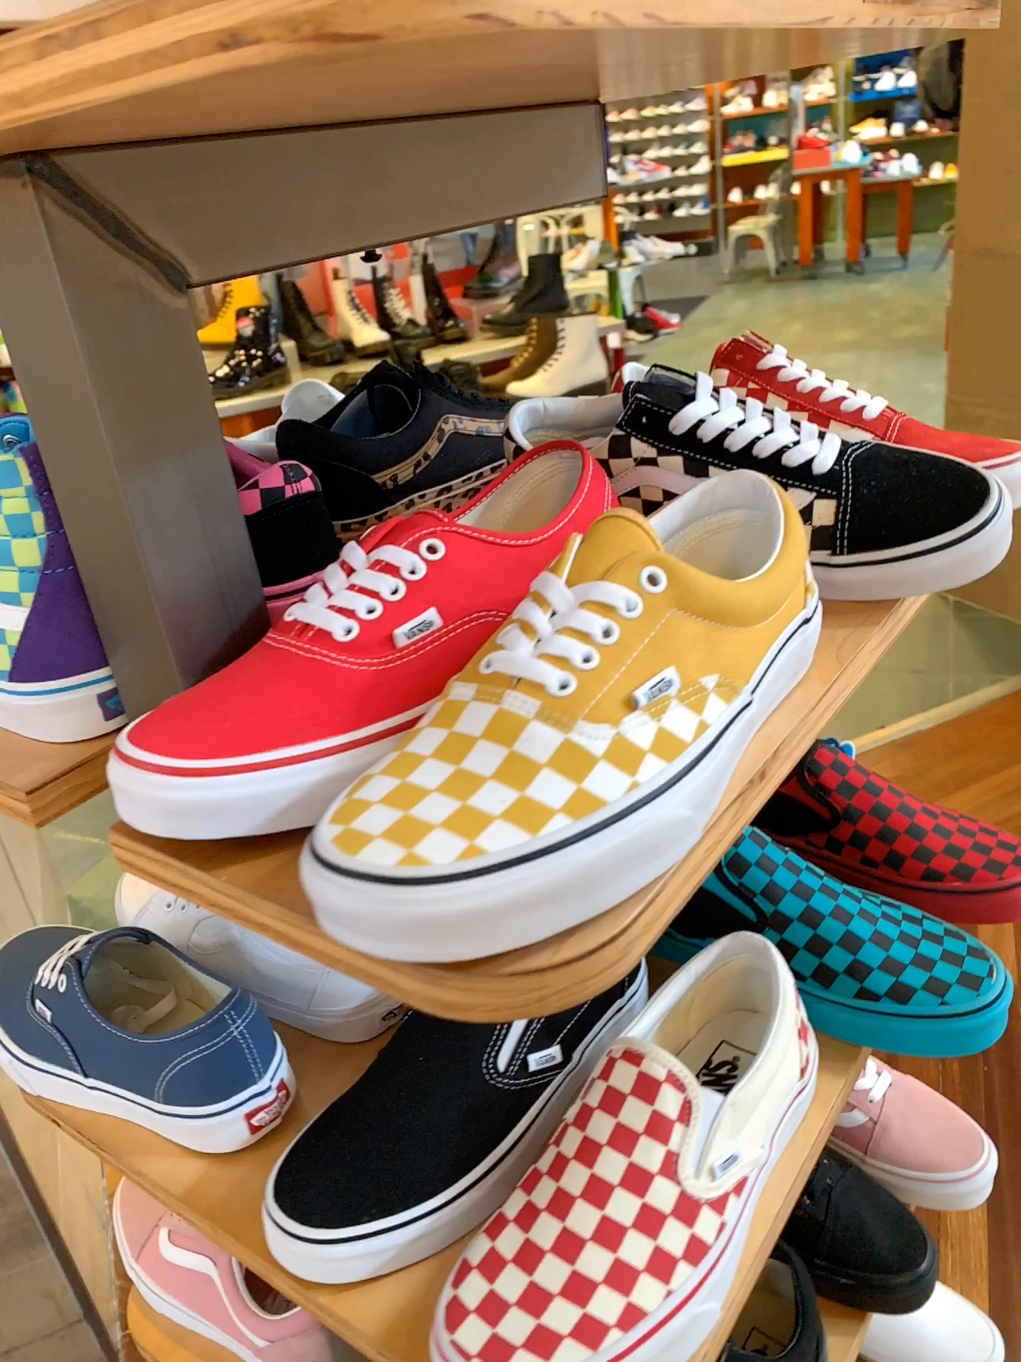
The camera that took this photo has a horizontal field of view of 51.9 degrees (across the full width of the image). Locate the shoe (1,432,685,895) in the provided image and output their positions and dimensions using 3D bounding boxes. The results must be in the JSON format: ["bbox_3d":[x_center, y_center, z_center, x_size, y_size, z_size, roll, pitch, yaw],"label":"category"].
[{"bbox_3d":[-0.046,-0.031,0.431,0.109,0.067,0.268,14,34,37],"label":"shoe"}]

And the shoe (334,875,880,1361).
[{"bbox_3d":[0.061,0.202,0.466,0.103,0.067,0.268,14,34,37],"label":"shoe"}]

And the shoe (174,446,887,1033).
[{"bbox_3d":[0.032,-0.010,0.366,0.103,0.067,0.268,13,33,36],"label":"shoe"}]

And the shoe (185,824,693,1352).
[{"bbox_3d":[-0.020,0.186,0.547,0.105,0.067,0.268,14,34,37],"label":"shoe"}]
